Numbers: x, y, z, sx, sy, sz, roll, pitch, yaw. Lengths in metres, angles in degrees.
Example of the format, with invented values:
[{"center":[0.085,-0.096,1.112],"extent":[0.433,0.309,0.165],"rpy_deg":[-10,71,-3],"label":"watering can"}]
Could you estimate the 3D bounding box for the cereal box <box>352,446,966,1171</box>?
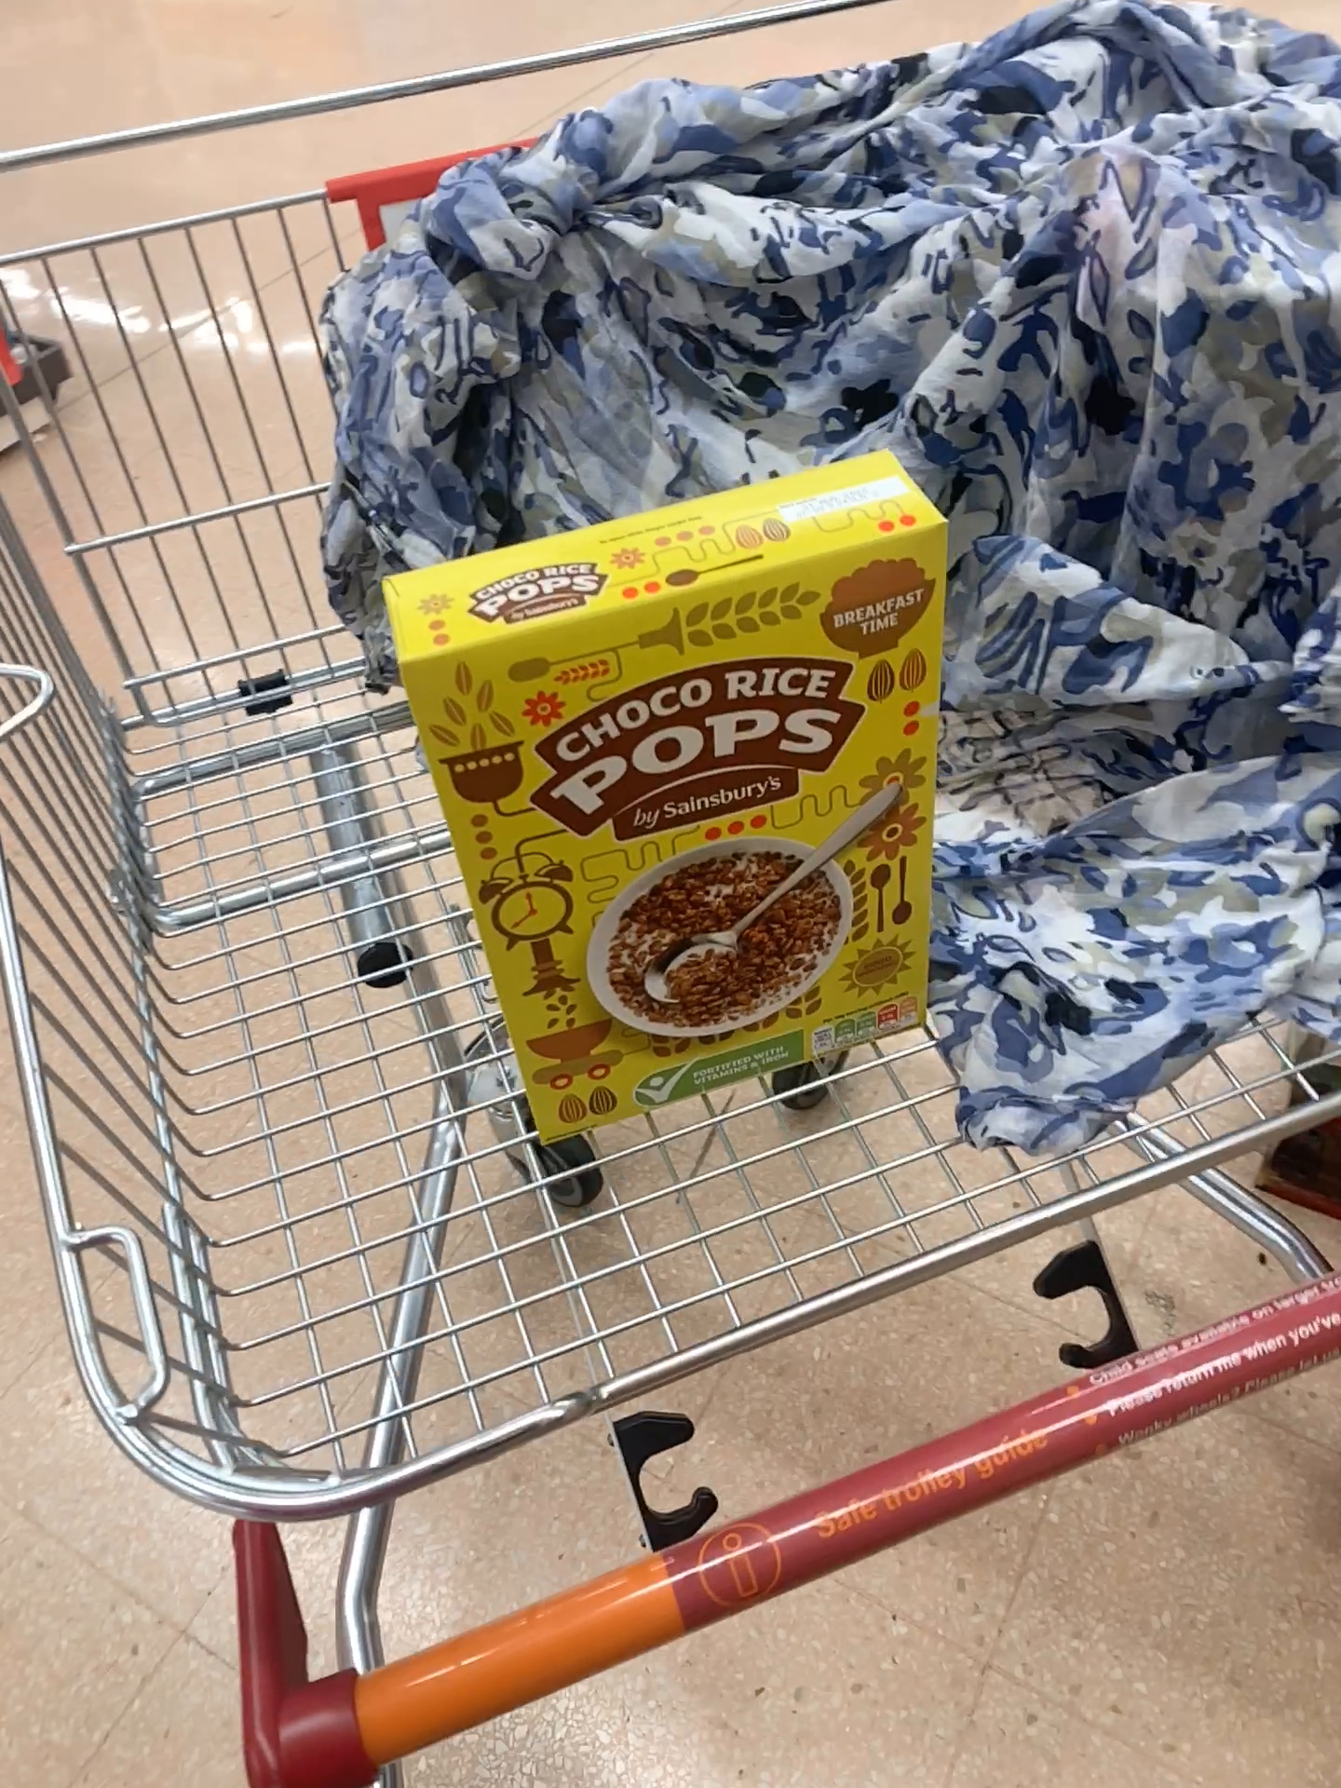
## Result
[{"center":[0.006,-0.021,0.555],"extent":[0.200,0.267,0.061],"rpy_deg":[-16,44,-10],"label":"cereal box"}]
